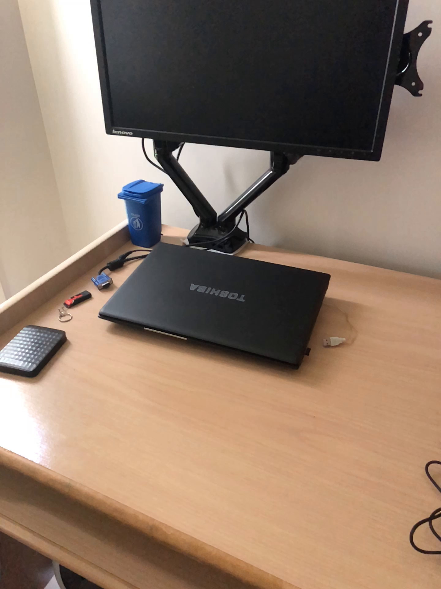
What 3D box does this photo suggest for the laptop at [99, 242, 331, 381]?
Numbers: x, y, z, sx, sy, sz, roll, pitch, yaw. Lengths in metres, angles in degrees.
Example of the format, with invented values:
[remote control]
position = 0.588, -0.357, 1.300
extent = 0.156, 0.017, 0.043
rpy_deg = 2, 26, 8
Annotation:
[laptop]
position = -0.002, 0.012, 0.942
extent = 0.380, 0.029, 0.258
rpy_deg = 13, 42, 19
